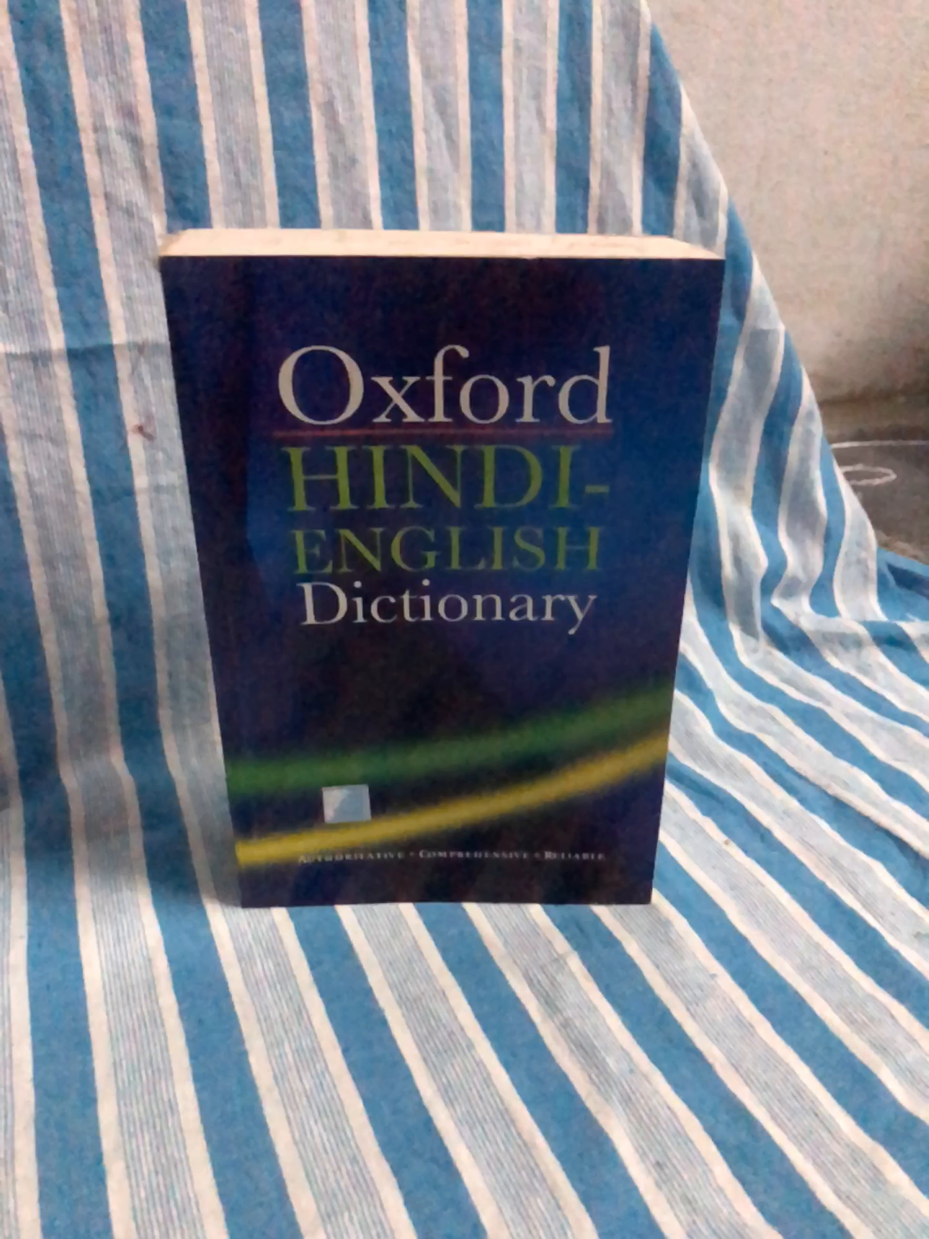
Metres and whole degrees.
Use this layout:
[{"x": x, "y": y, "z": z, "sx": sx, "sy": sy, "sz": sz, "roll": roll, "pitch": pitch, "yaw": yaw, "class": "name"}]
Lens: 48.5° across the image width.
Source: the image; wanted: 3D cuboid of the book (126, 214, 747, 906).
[{"x": -0.010, "y": -0.008, "z": 0.303, "sx": 0.140, "sy": 0.199, "sz": 0.050, "roll": 0, "pitch": 30, "yaw": -4, "class": "book"}]
